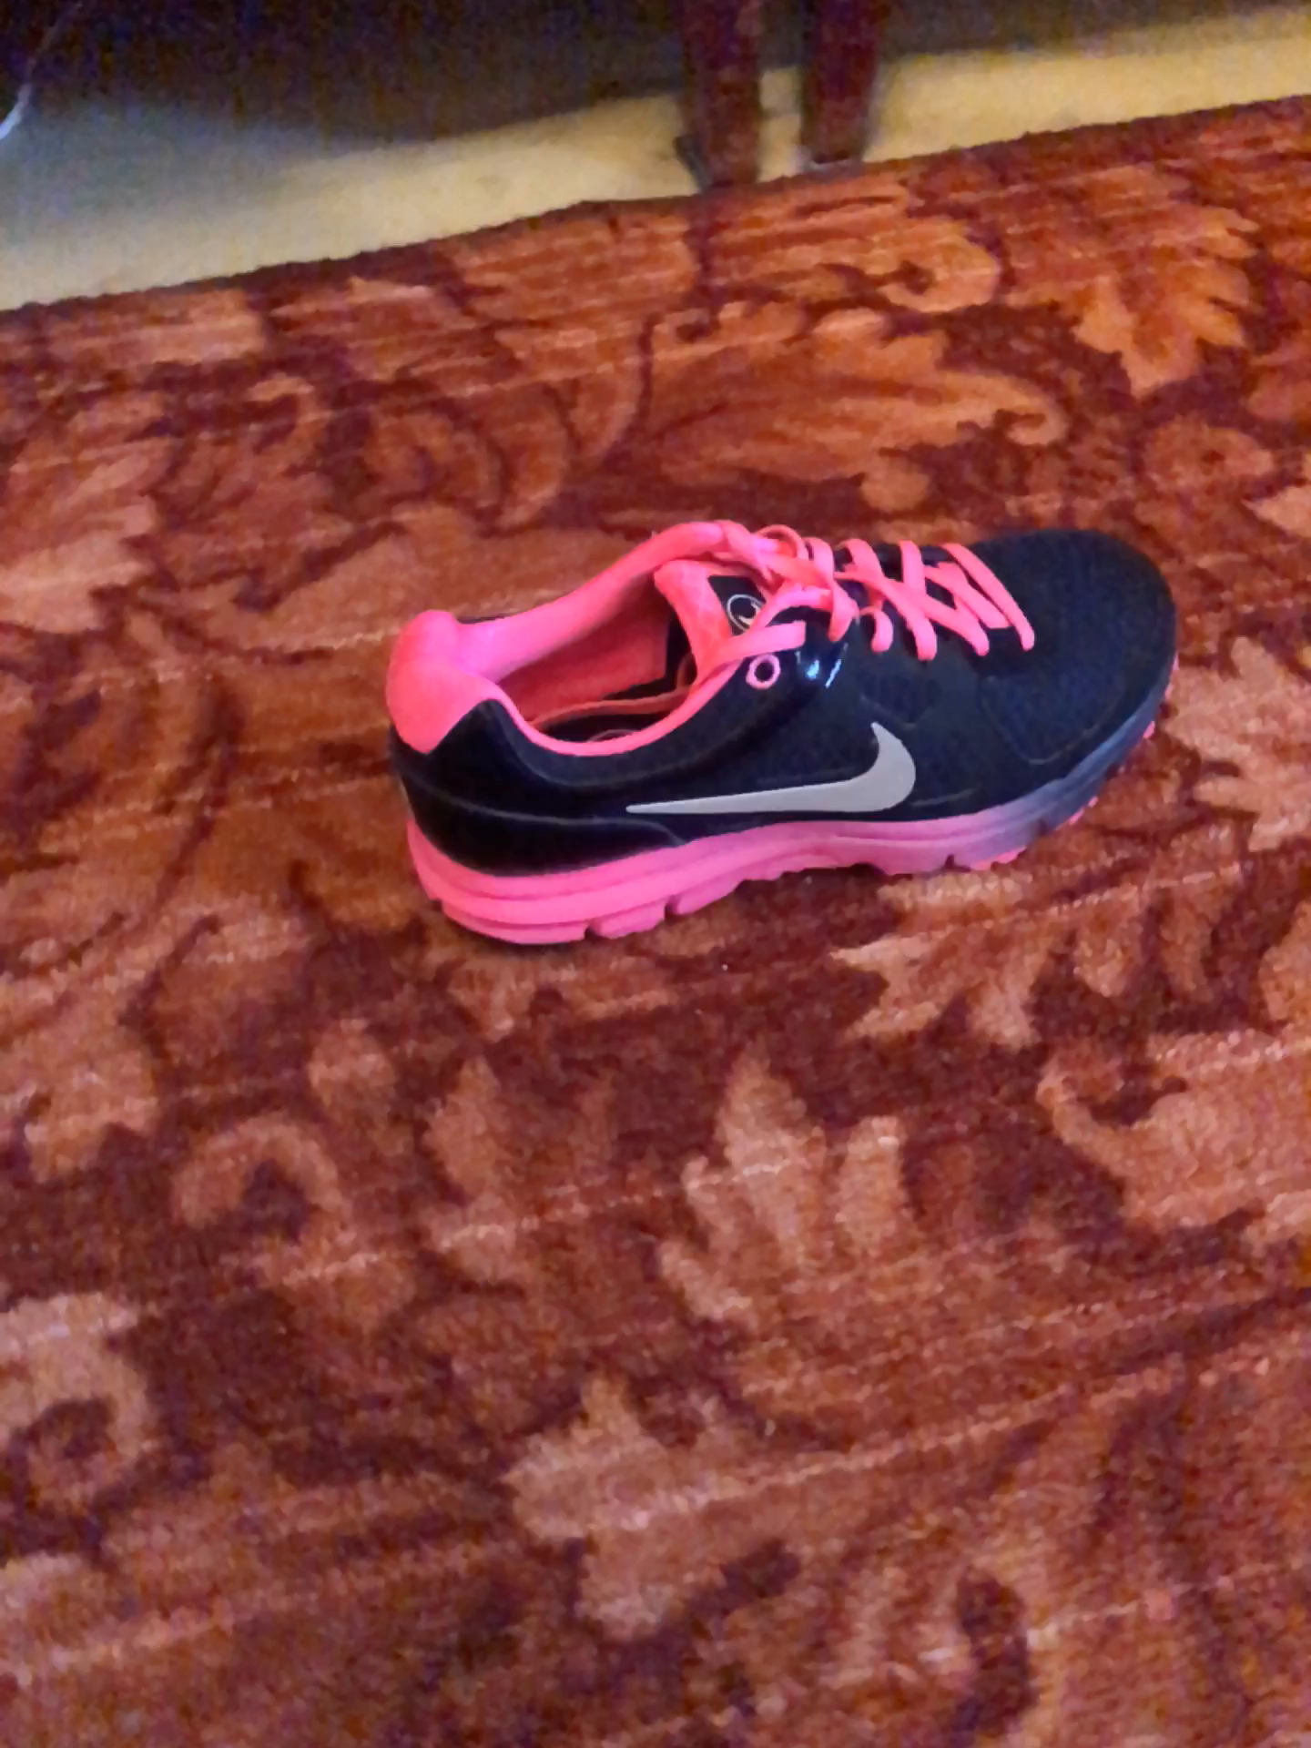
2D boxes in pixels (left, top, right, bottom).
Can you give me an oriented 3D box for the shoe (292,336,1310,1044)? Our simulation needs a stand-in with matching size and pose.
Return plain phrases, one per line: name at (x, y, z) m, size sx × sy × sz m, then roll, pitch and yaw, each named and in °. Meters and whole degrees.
shoe at (0.037, -0.057, 0.428) m, size 0.250 × 0.100 × 0.110 m, roll -16°, pitch 55°, yaw -9°
